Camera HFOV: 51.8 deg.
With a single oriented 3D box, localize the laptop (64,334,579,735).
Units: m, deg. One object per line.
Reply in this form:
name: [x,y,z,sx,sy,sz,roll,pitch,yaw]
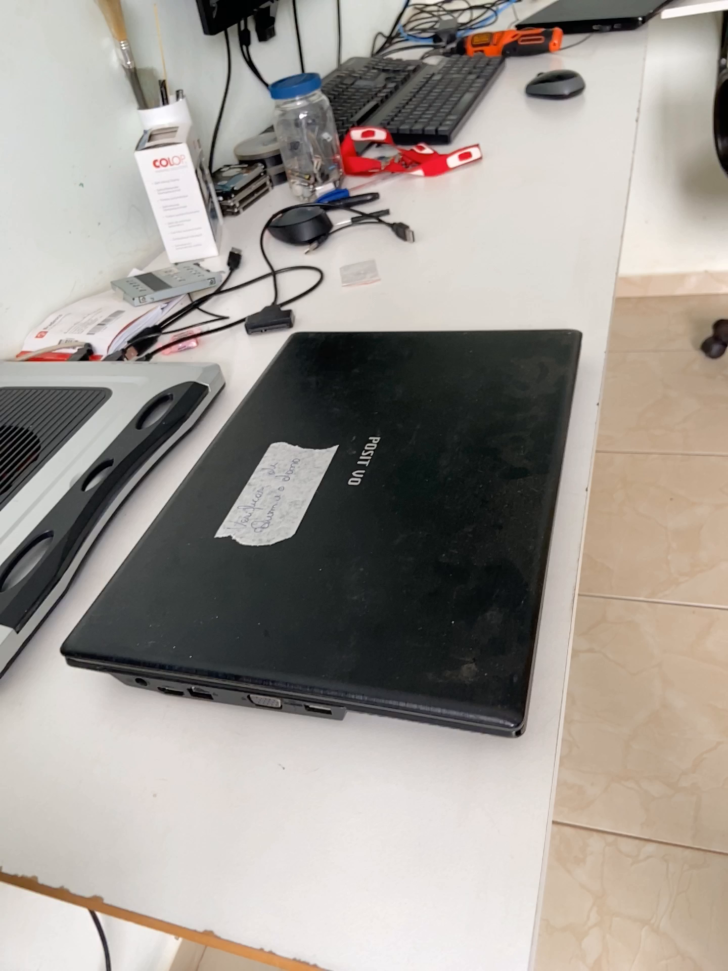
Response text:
laptop: [0.002,-0.010,0.471,0.233,0.008,0.330,4,41,18]
